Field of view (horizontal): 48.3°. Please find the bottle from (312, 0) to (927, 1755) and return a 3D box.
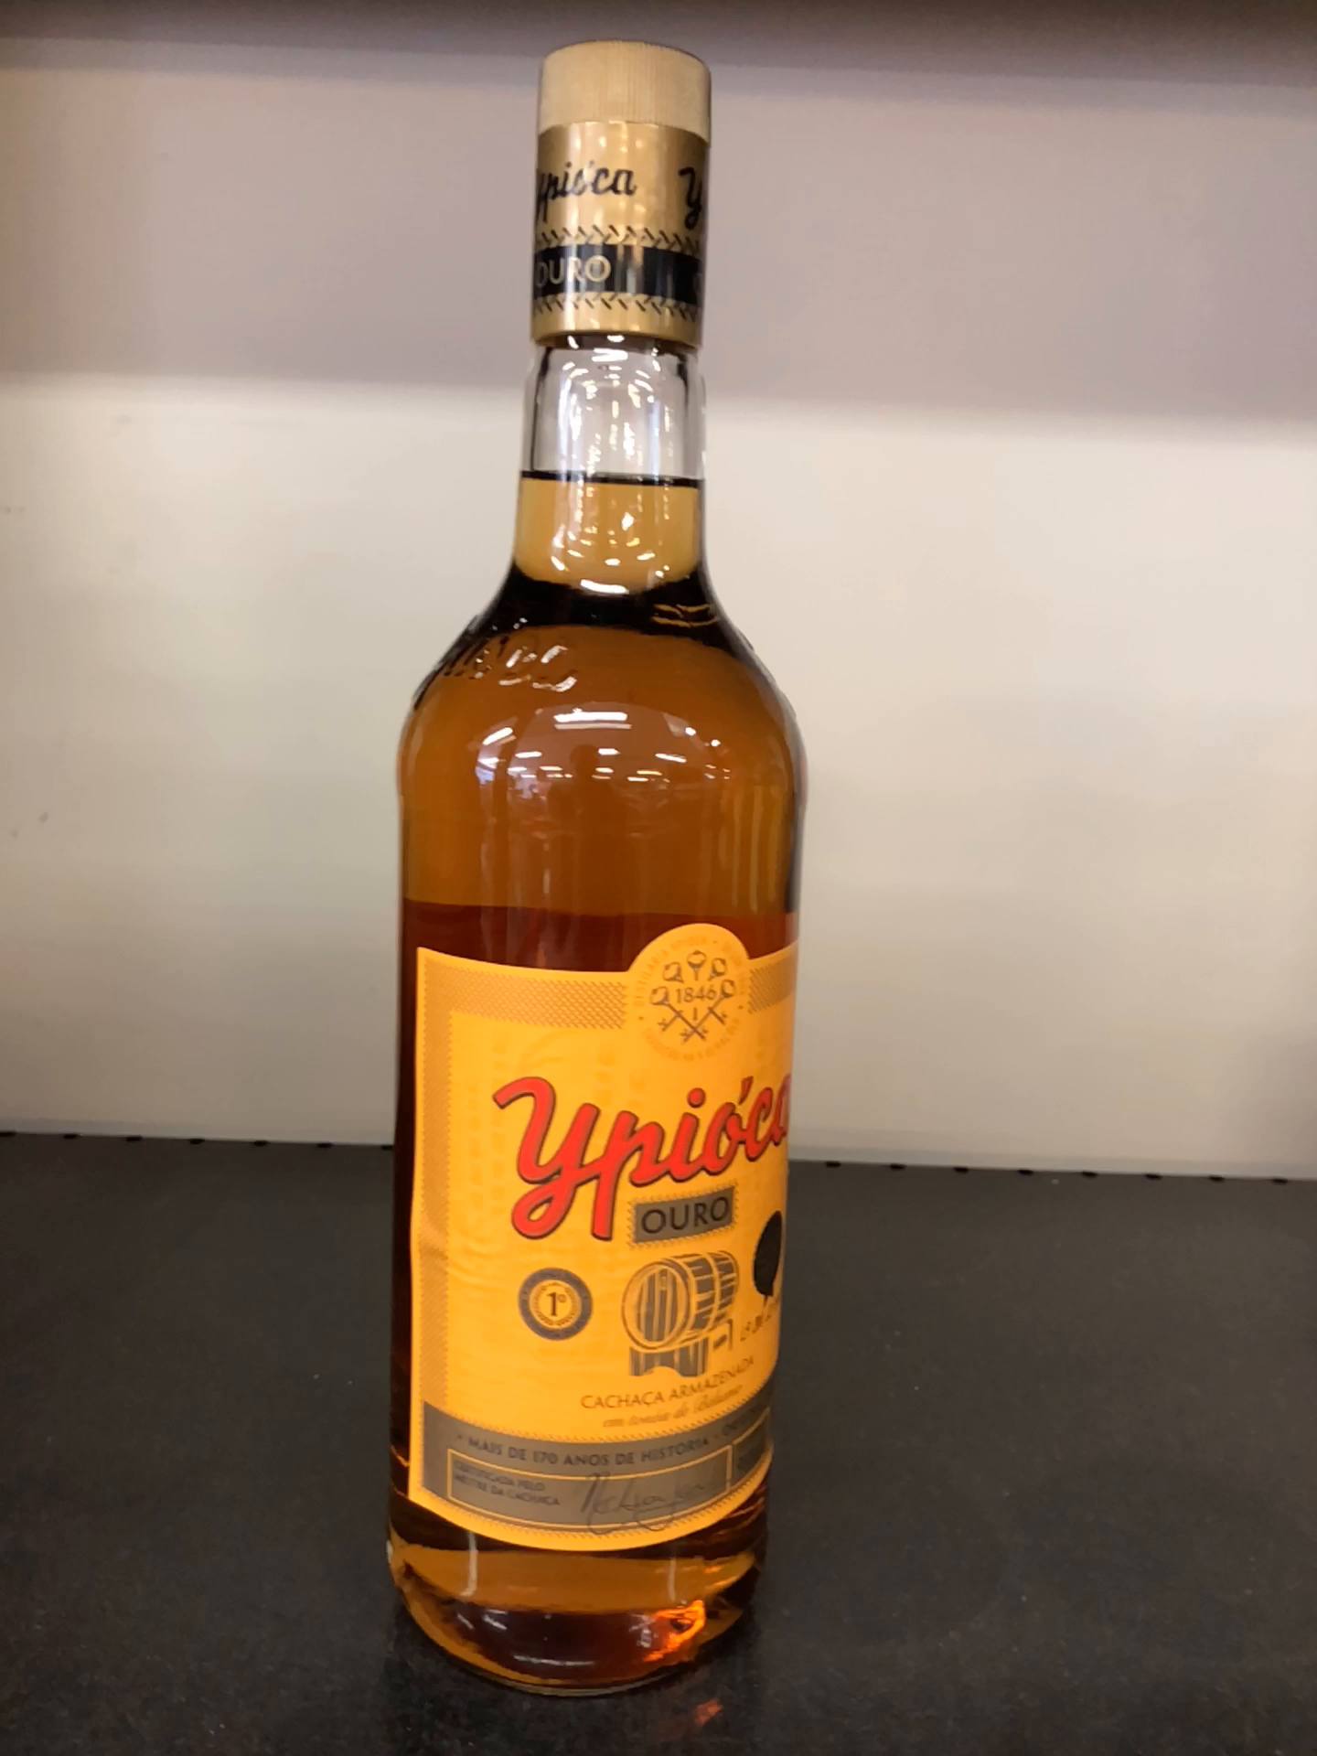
[{"bbox_3d":[-0.017,0.002,0.277,0.080,0.309,0.070,-3,13,-27],"label":"bottle"}]
